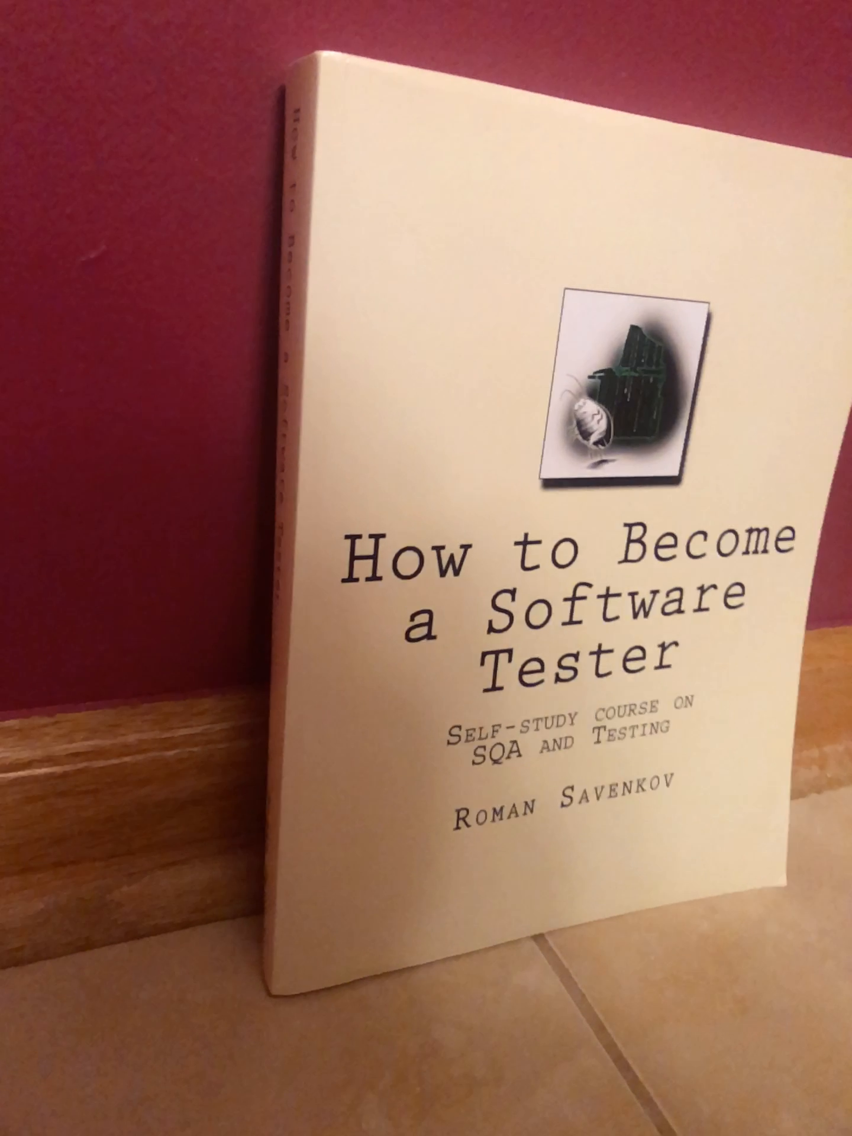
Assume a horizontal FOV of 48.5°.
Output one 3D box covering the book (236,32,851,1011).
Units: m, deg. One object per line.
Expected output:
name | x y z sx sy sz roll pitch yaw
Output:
book | 0.052 -0.006 0.321 0.221 0.274 0.045 -3 18 -24
